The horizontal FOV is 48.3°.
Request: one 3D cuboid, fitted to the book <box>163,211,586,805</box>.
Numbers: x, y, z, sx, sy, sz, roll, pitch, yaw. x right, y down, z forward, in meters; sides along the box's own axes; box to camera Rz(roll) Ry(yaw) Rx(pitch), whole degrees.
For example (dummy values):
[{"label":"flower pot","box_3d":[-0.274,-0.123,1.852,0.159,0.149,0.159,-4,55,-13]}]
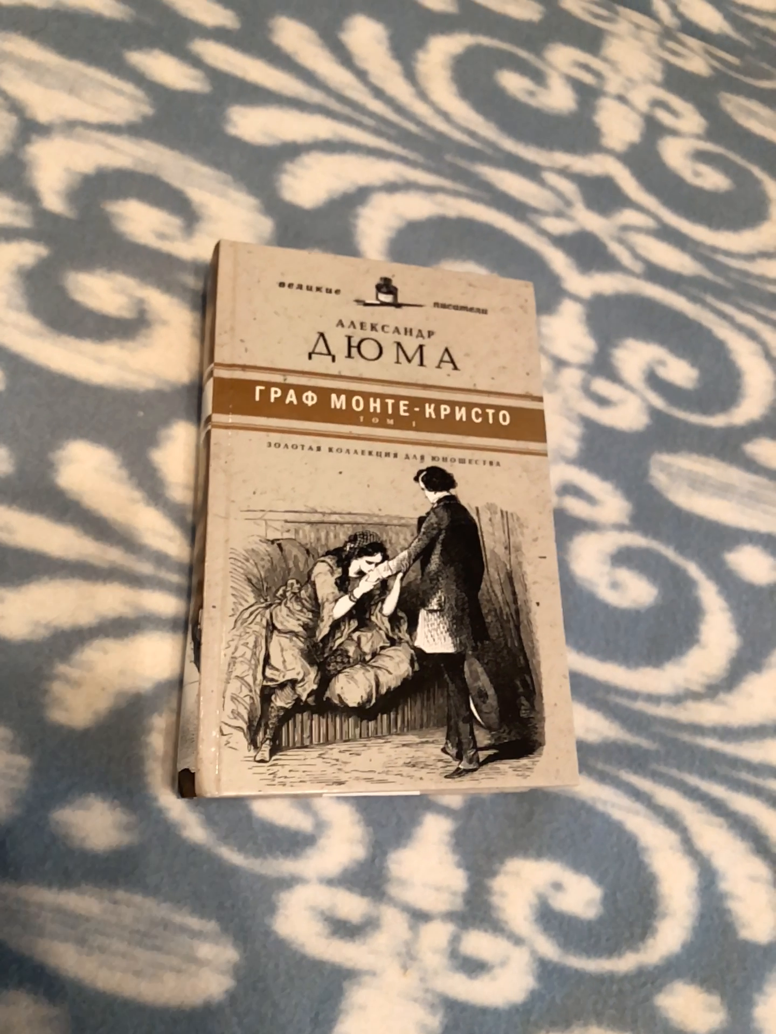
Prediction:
[{"label":"book","box_3d":[-0.008,-0.005,0.328,0.138,0.040,0.212,3,70,-15]}]
